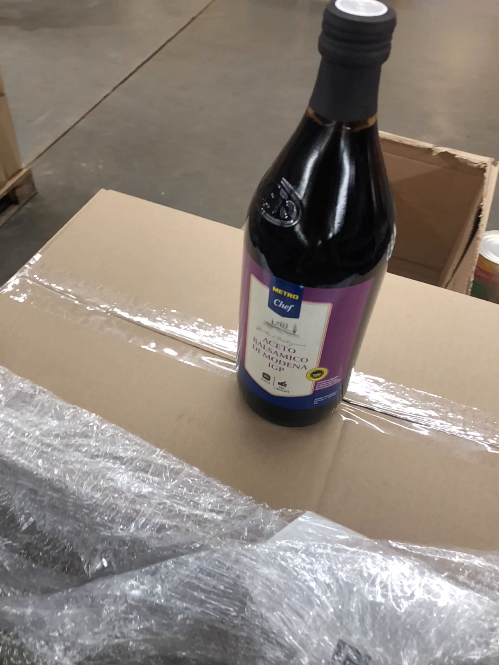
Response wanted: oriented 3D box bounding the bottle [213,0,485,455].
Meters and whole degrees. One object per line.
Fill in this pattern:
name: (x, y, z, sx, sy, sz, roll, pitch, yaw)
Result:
bottle: (0.040, -0.044, 0.326, 0.090, 0.257, 0.091, 2, 49, -3)
